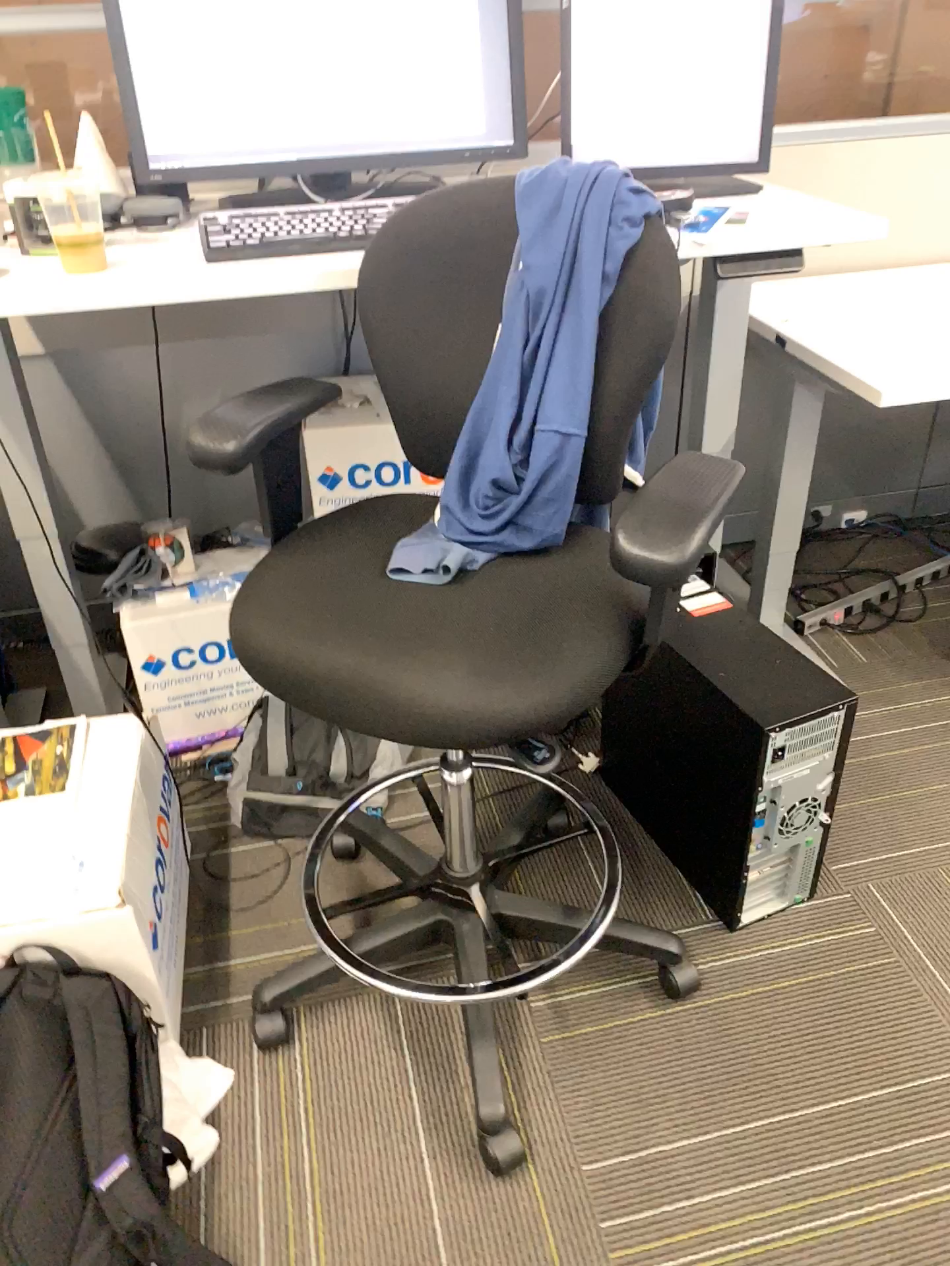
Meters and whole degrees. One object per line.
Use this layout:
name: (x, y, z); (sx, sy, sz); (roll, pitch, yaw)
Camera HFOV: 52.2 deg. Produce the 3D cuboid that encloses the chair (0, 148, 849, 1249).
chair: (-0.023, 0.027, 1.284); (0.751, 1.103, 0.744); (11, 35, 18)
